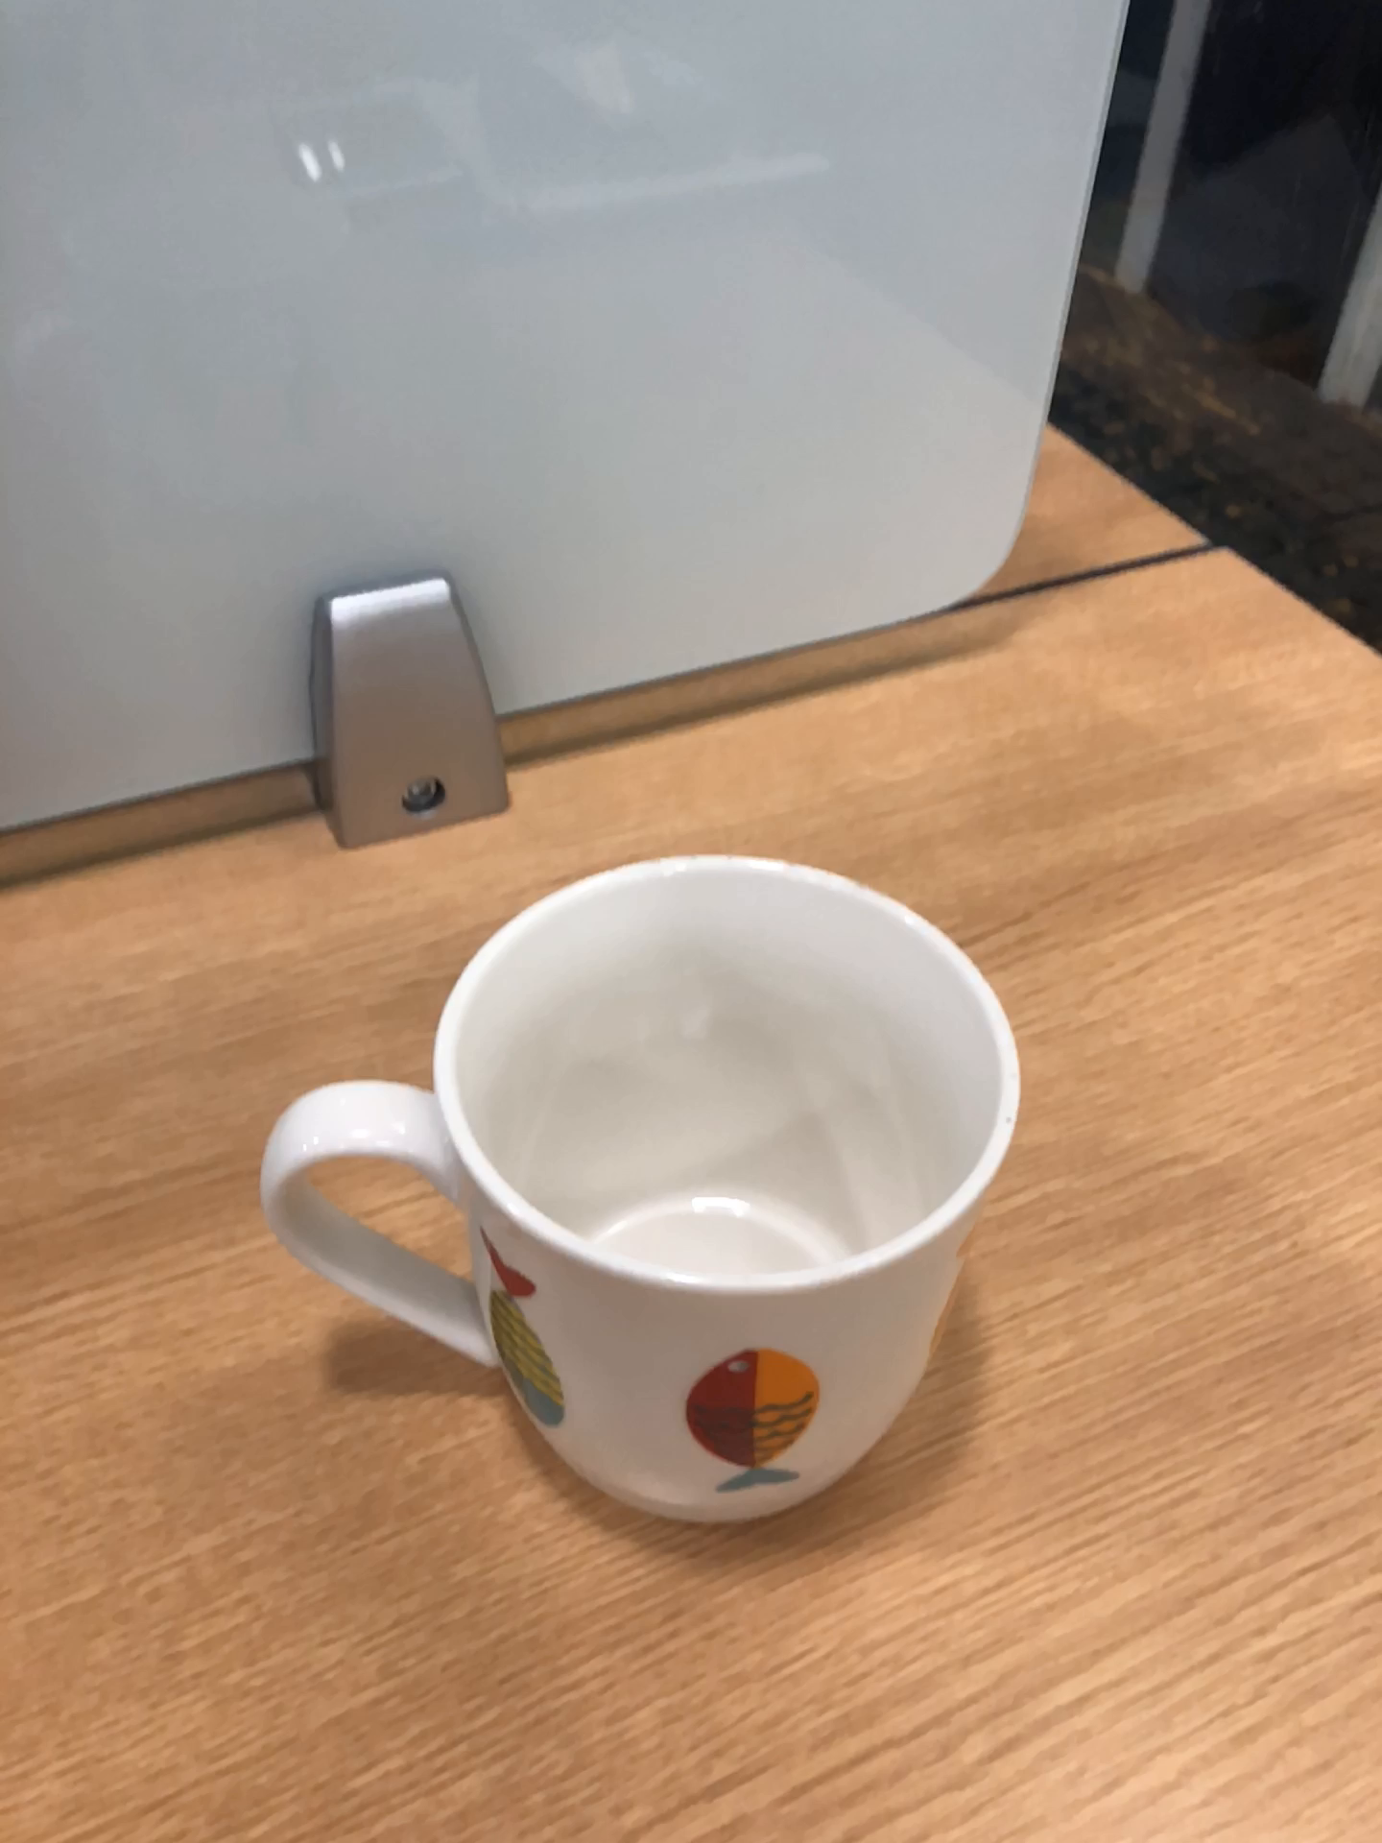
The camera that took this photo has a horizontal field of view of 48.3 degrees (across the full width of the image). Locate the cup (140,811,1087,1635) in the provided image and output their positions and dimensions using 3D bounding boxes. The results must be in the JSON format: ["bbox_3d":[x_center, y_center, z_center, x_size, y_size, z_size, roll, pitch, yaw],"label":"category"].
[{"bbox_3d":[-0.013,0.045,0.238,0.110,0.090,0.080,-3,42,-6],"label":"cup"}]
